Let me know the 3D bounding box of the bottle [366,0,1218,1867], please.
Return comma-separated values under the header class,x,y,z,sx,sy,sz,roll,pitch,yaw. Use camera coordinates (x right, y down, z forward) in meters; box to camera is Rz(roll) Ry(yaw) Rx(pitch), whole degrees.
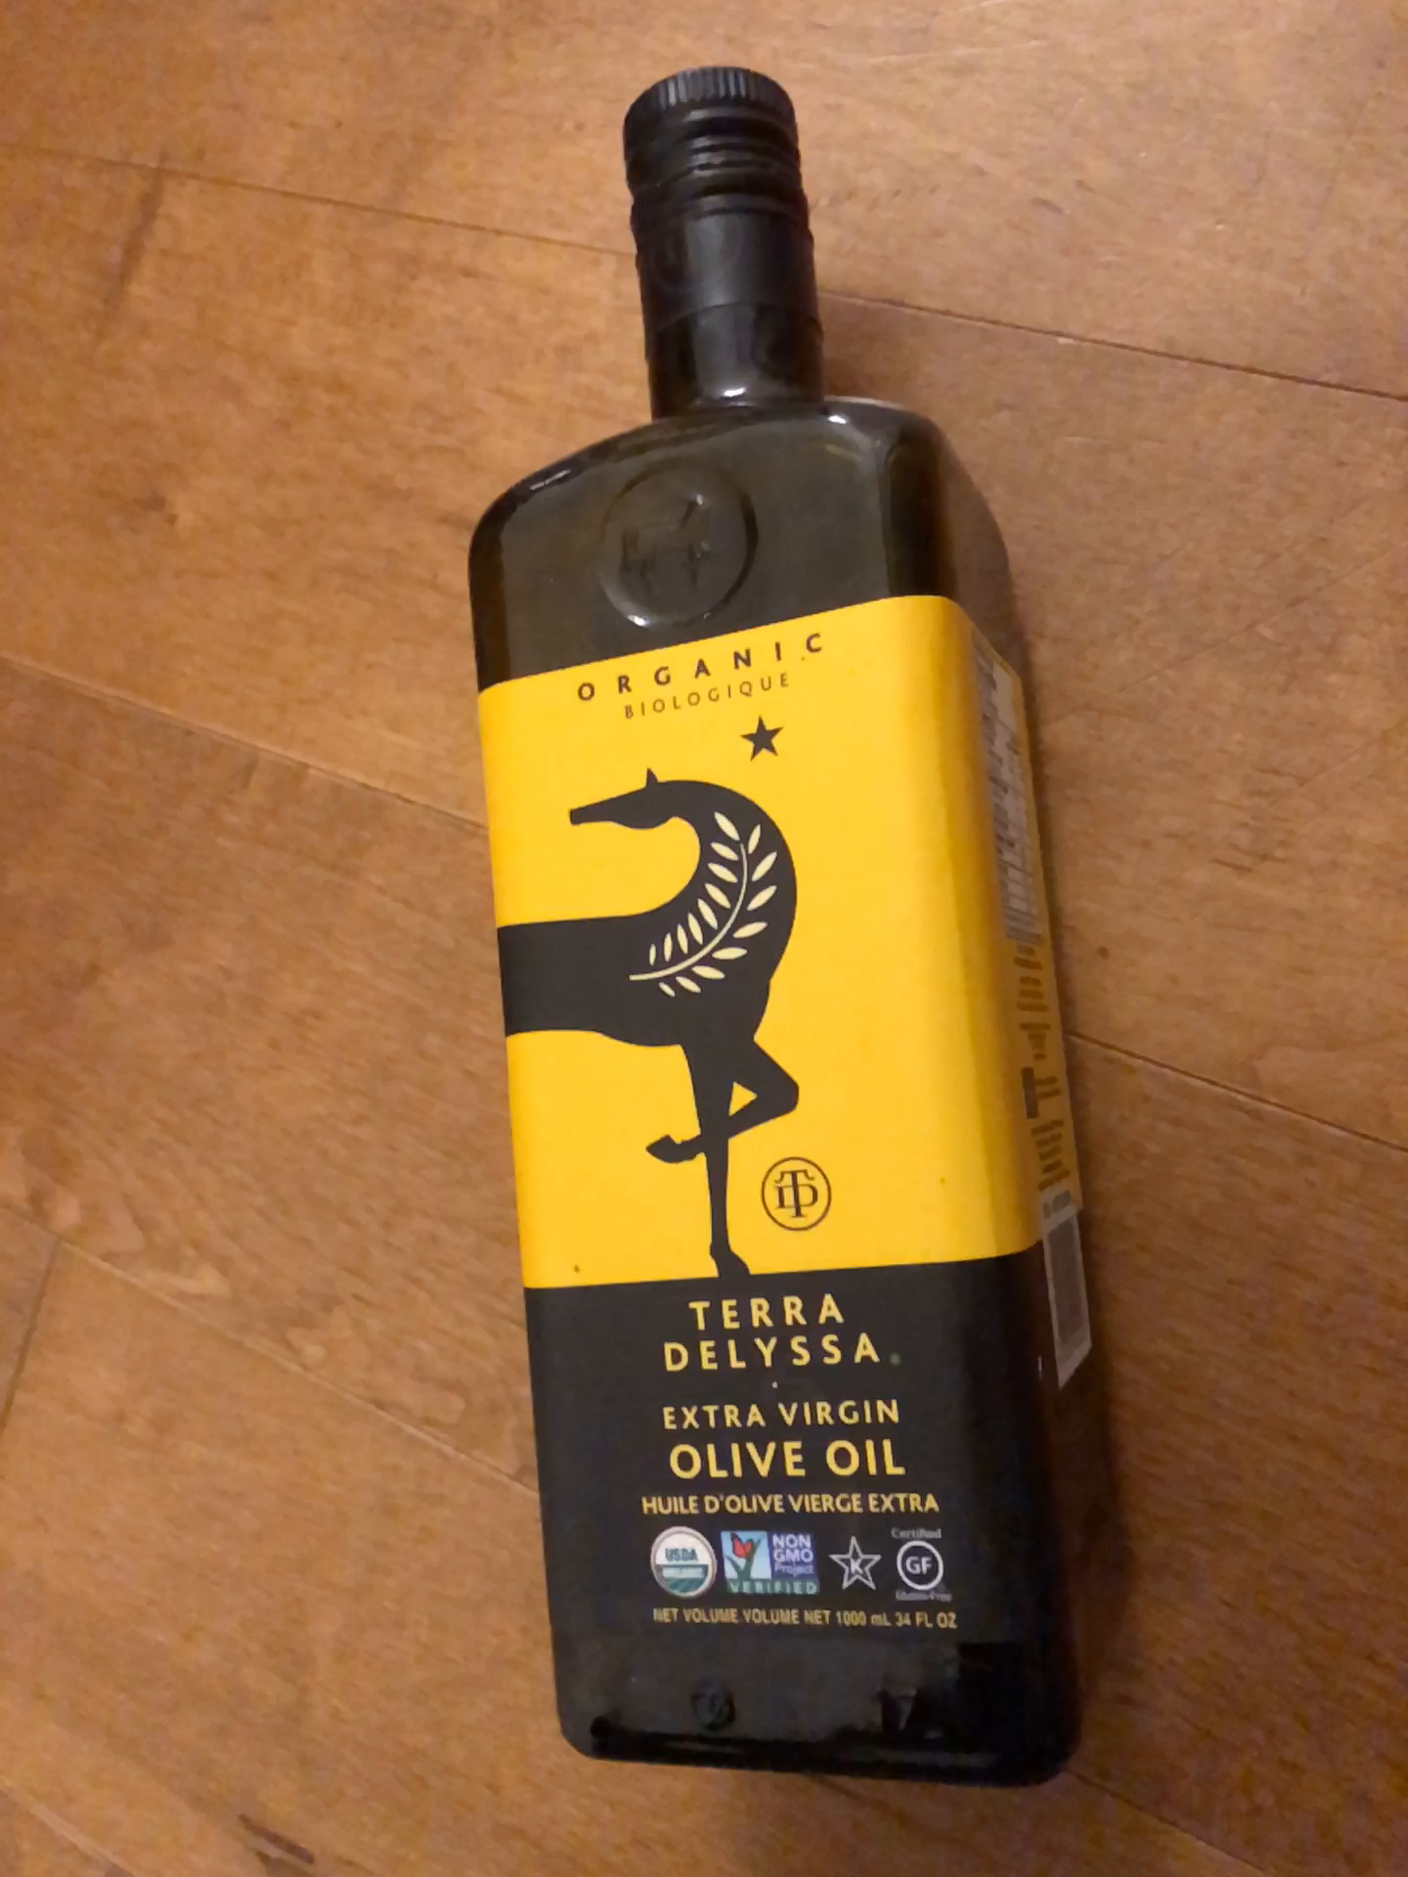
class,x,y,z,sx,sy,sz,roll,pitch,yaw
bottle,0.013,-0.015,0.246,0.090,0.060,0.270,-9,83,21
